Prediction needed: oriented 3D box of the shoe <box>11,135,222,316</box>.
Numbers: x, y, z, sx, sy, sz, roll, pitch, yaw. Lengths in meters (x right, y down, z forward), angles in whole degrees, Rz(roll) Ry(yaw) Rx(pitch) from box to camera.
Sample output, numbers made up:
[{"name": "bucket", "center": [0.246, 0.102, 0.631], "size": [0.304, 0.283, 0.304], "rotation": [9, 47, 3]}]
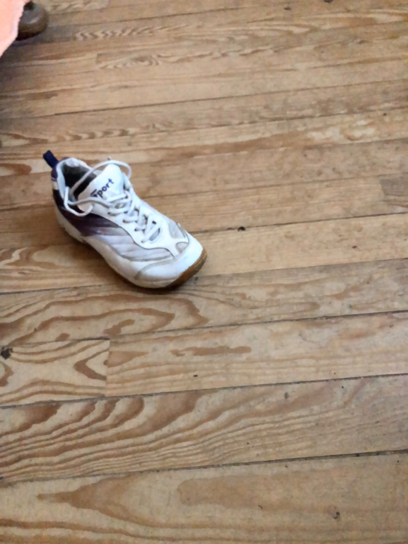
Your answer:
[{"name": "shoe", "center": [-0.115, -0.069, 0.611], "size": [0.260, 0.100, 0.110], "rotation": [30, 63, 23]}]
